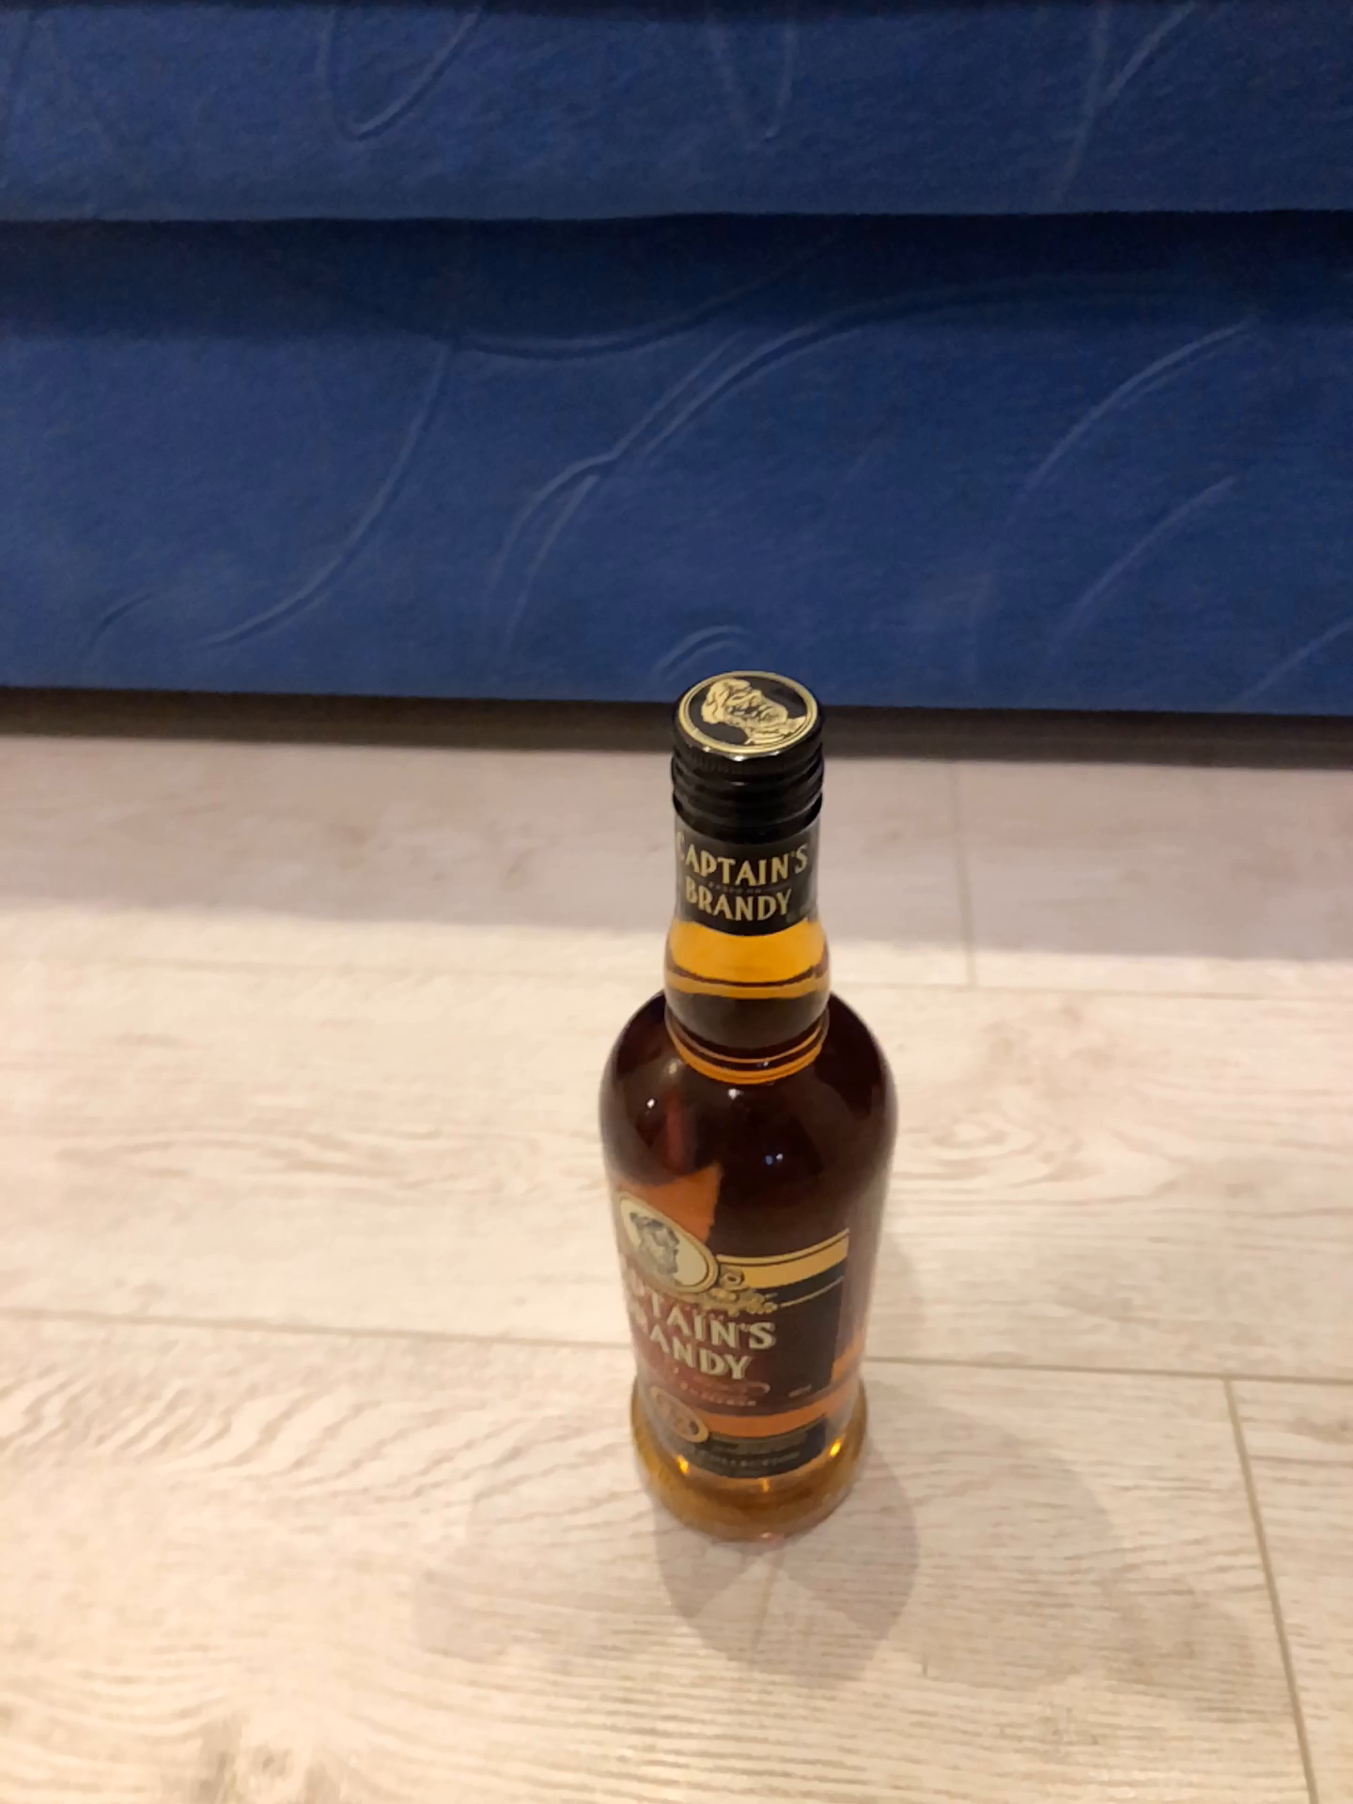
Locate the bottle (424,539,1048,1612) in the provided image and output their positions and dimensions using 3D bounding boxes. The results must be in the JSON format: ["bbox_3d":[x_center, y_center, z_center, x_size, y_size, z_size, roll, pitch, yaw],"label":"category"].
[{"bbox_3d":[0.016,0.057,0.356,0.080,0.257,0.080,-2,43,1],"label":"bottle"}]
